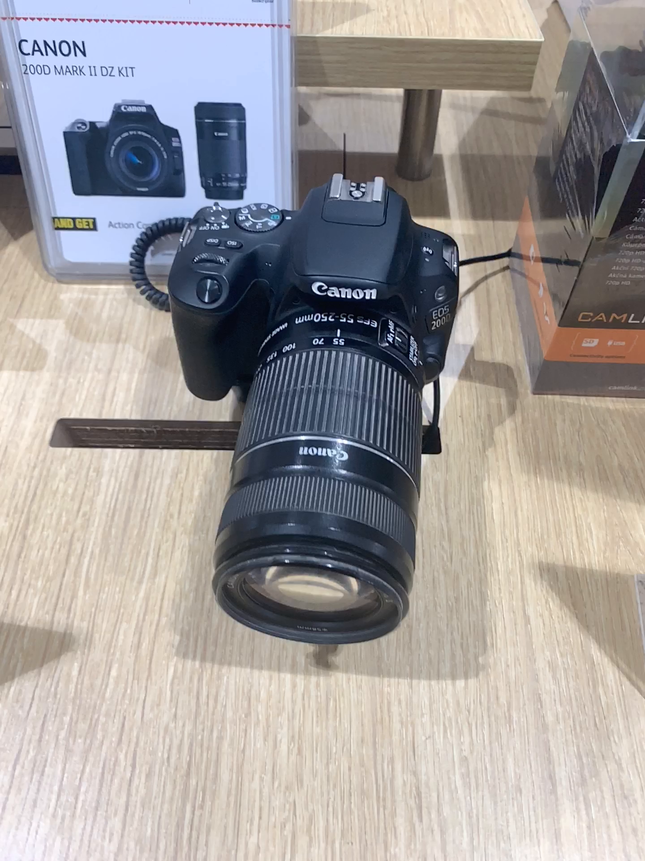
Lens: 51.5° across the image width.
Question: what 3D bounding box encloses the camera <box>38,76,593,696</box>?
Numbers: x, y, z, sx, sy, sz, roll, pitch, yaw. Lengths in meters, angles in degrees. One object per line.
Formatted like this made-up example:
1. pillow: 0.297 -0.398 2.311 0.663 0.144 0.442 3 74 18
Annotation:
1. camera: 0.006 -0.027 0.244 0.120 0.100 0.201 4 53 3
